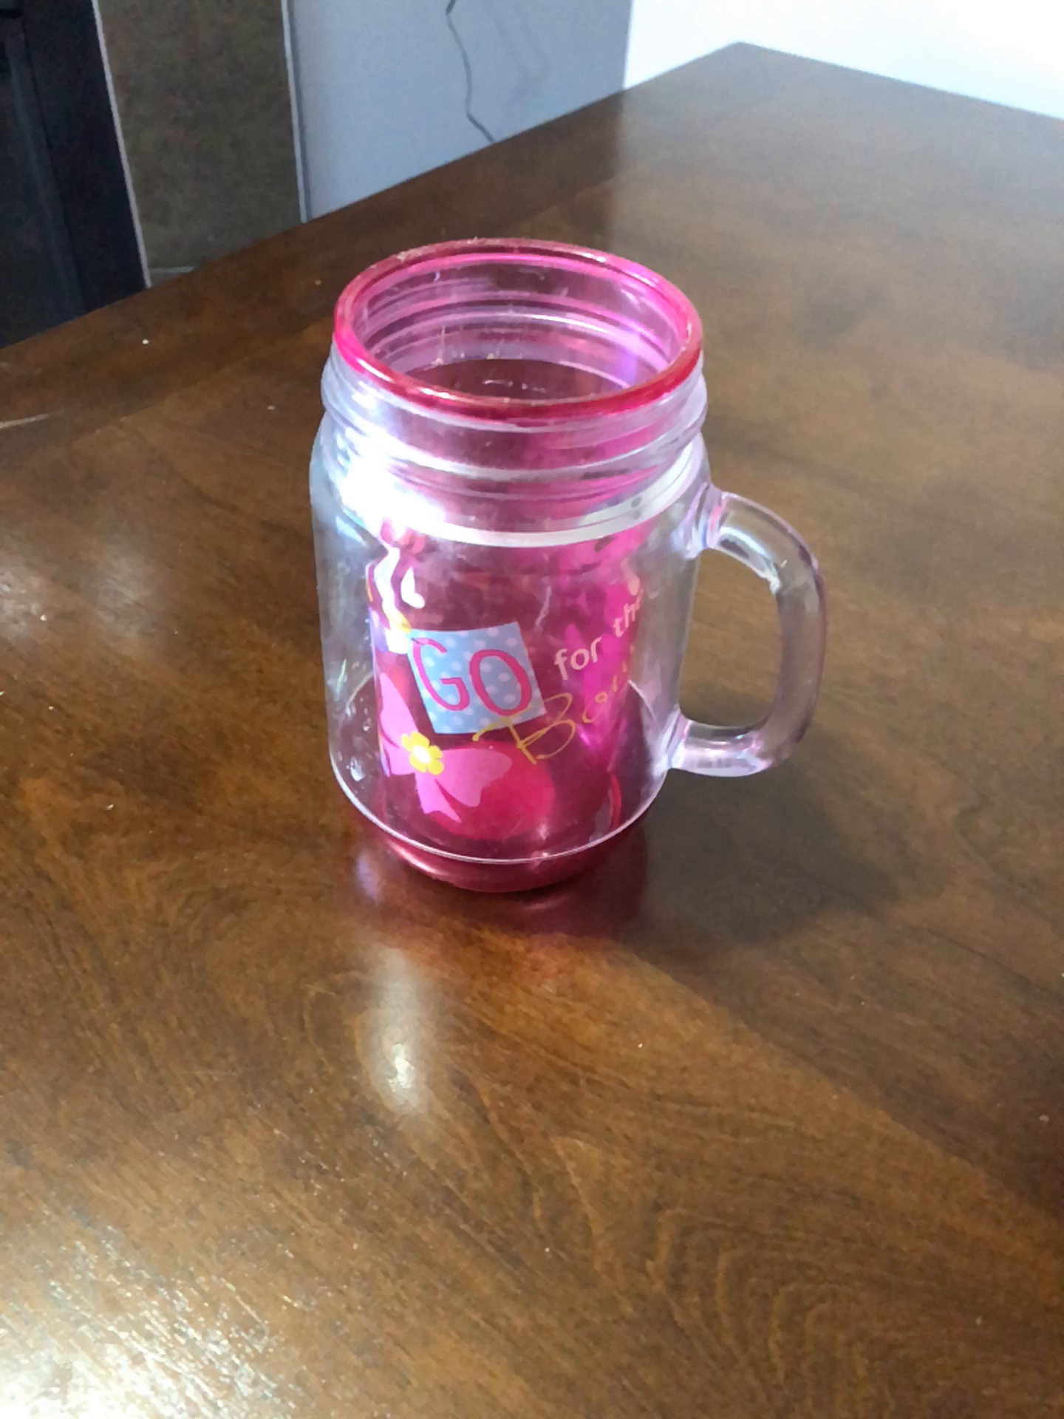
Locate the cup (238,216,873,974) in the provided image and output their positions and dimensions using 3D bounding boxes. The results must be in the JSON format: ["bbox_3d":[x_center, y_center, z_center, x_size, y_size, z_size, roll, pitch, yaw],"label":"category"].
[{"bbox_3d":[0.007,-0.025,0.308,0.120,0.159,0.080,12,44,10],"label":"cup"}]
